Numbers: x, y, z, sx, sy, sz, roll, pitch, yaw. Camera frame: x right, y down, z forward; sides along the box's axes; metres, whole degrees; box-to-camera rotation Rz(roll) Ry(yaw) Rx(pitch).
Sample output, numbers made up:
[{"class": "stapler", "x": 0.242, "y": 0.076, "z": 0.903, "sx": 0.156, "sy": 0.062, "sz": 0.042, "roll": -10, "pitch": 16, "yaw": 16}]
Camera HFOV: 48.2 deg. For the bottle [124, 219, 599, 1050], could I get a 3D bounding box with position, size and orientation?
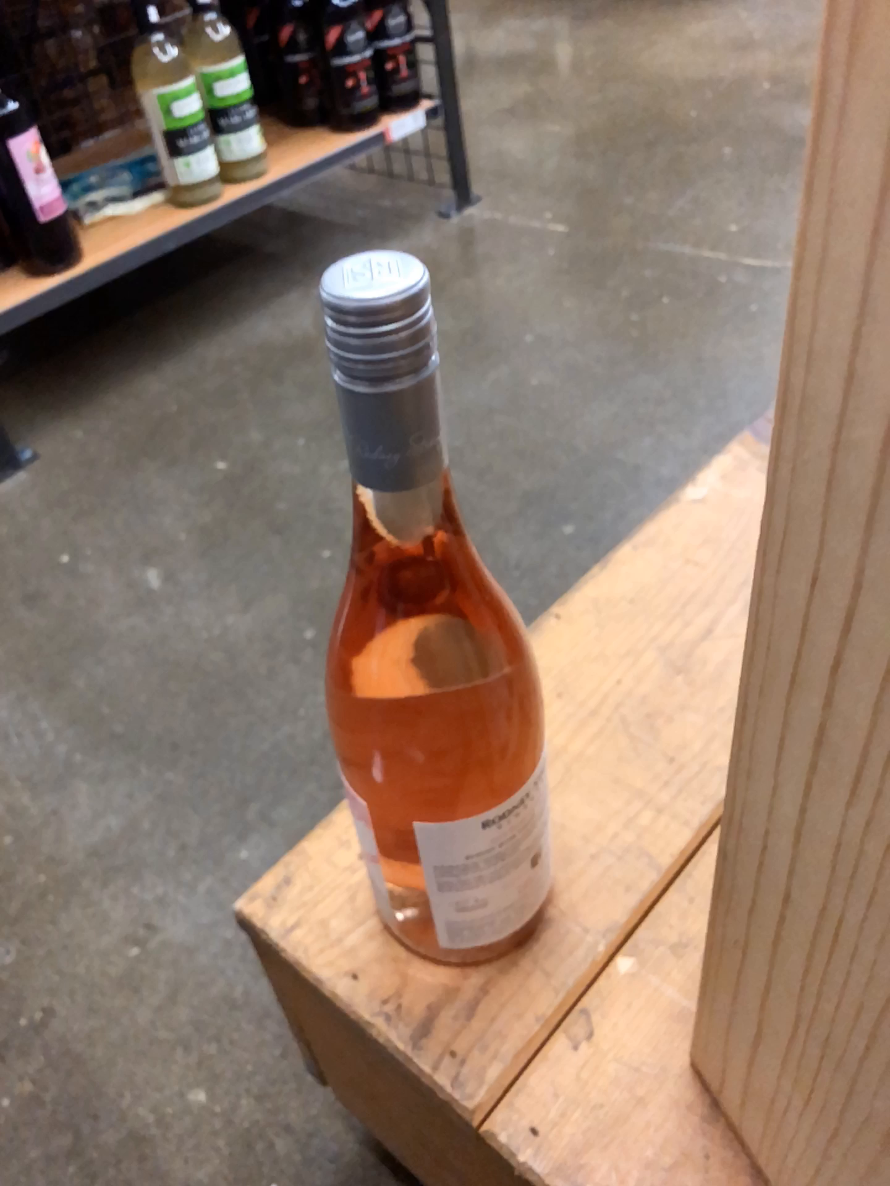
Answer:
[{"class": "bottle", "x": -0.004, "y": 0.040, "z": 0.351, "sx": 0.082, "sy": 0.309, "sz": 0.080, "roll": -5, "pitch": 42, "yaw": 5}]
